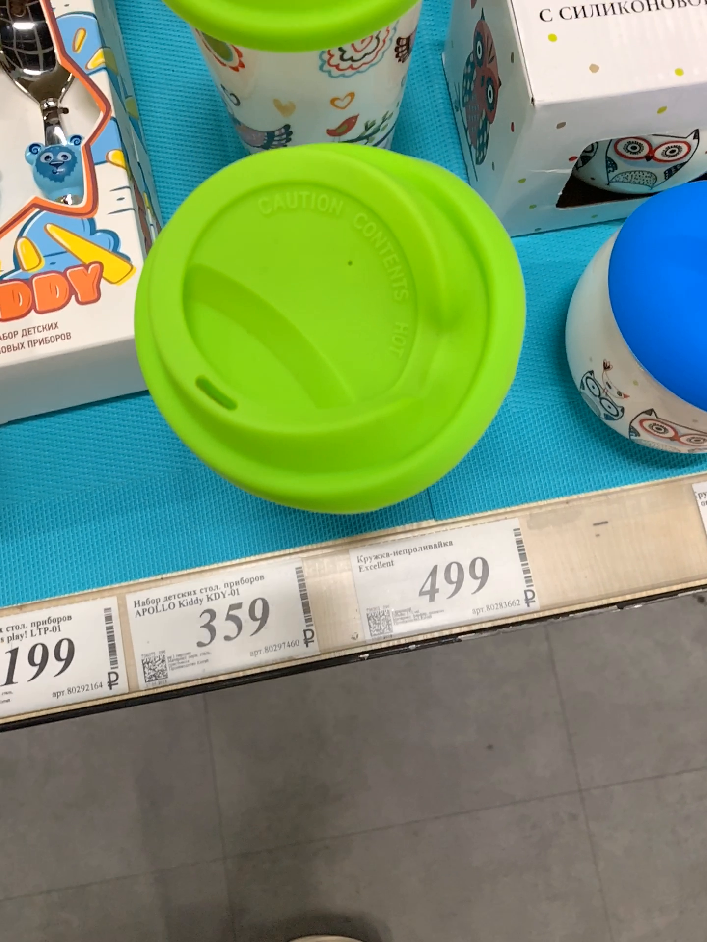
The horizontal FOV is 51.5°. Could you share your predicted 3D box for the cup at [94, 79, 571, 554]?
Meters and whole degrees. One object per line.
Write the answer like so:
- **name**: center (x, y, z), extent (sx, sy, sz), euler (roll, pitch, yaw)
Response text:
- **cup**: center (-0.007, -0.030, 0.232), extent (0.090, 0.136, 0.084), euler (0, 79, -1)
